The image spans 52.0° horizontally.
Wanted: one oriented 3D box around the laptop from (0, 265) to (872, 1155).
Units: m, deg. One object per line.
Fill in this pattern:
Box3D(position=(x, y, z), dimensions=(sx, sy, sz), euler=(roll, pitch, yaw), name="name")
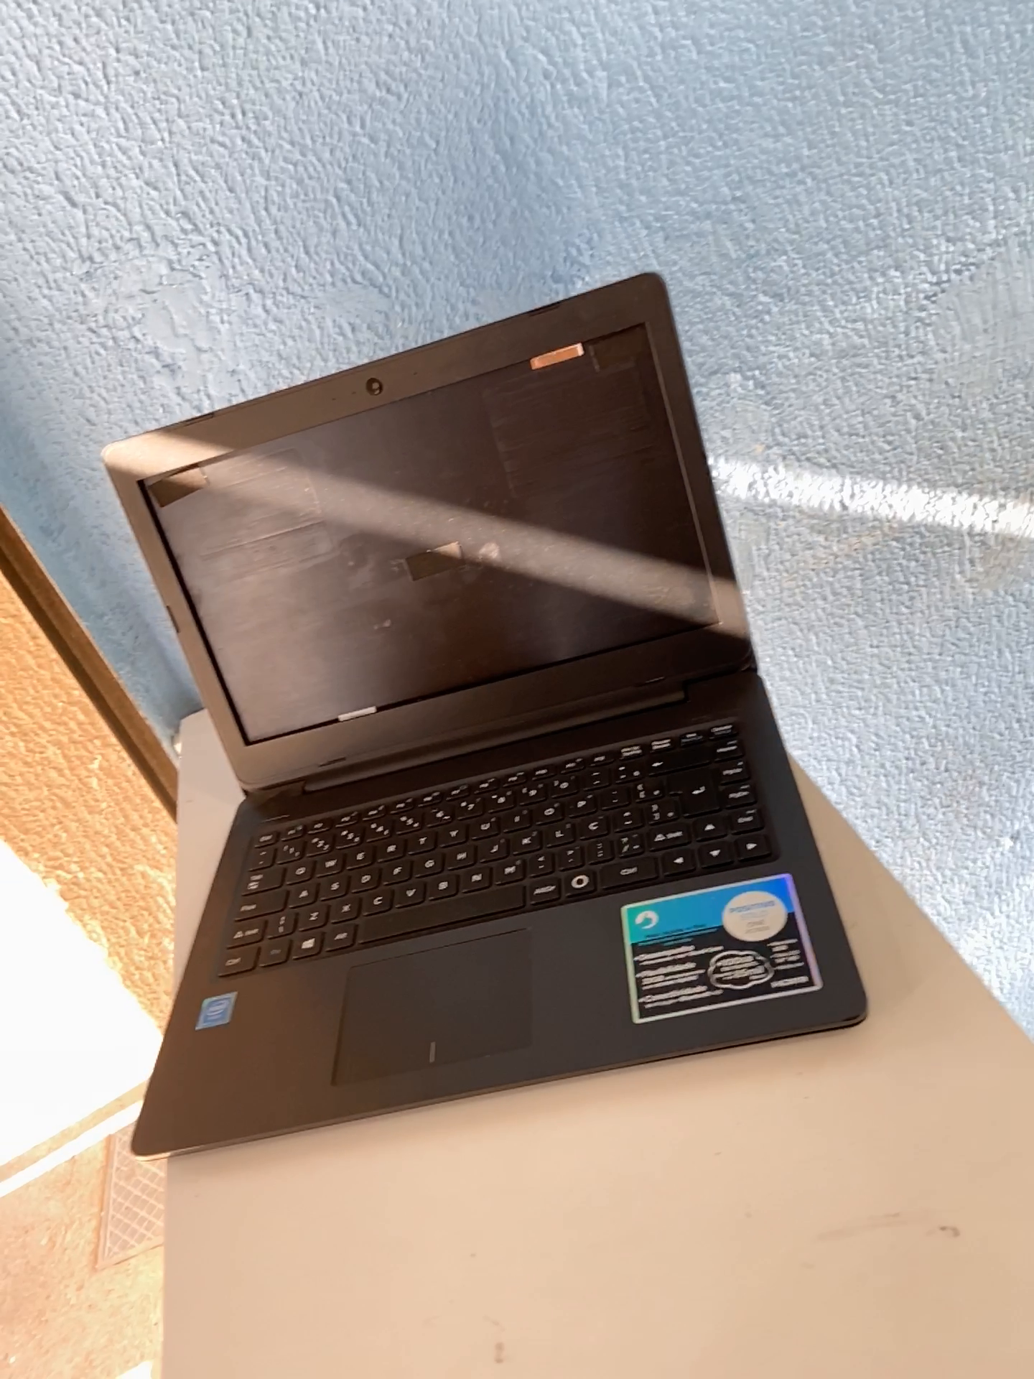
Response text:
Box3D(position=(-0.049, -0.006, 0.525), dimensions=(0.337, 0.214, 0.311), euler=(-15, 35, 10), name="laptop")
